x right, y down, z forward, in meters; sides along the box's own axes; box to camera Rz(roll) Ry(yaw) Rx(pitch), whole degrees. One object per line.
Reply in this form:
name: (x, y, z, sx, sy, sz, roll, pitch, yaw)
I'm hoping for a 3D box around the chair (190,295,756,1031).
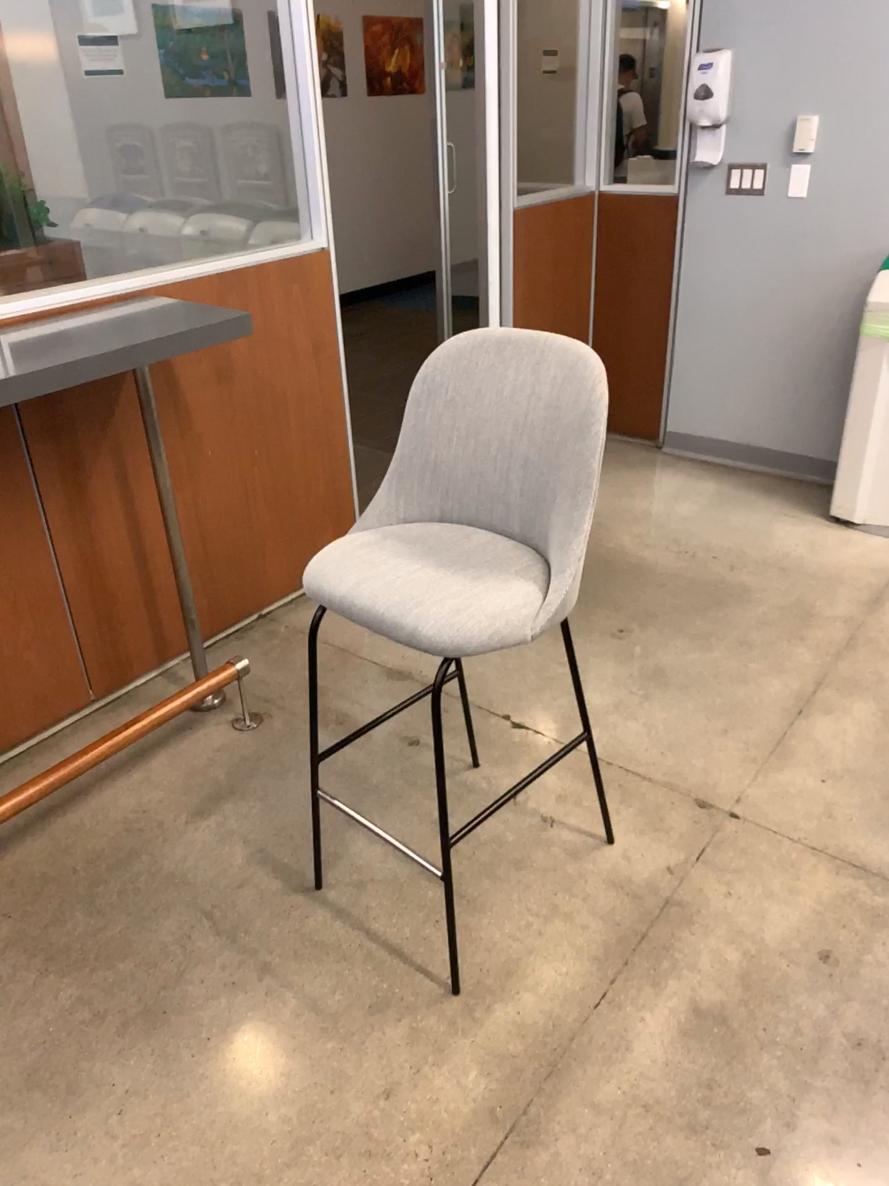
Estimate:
chair: (0.091, 0.069, 1.828, 0.592, 1.094, 0.811, 22, 36, 36)
